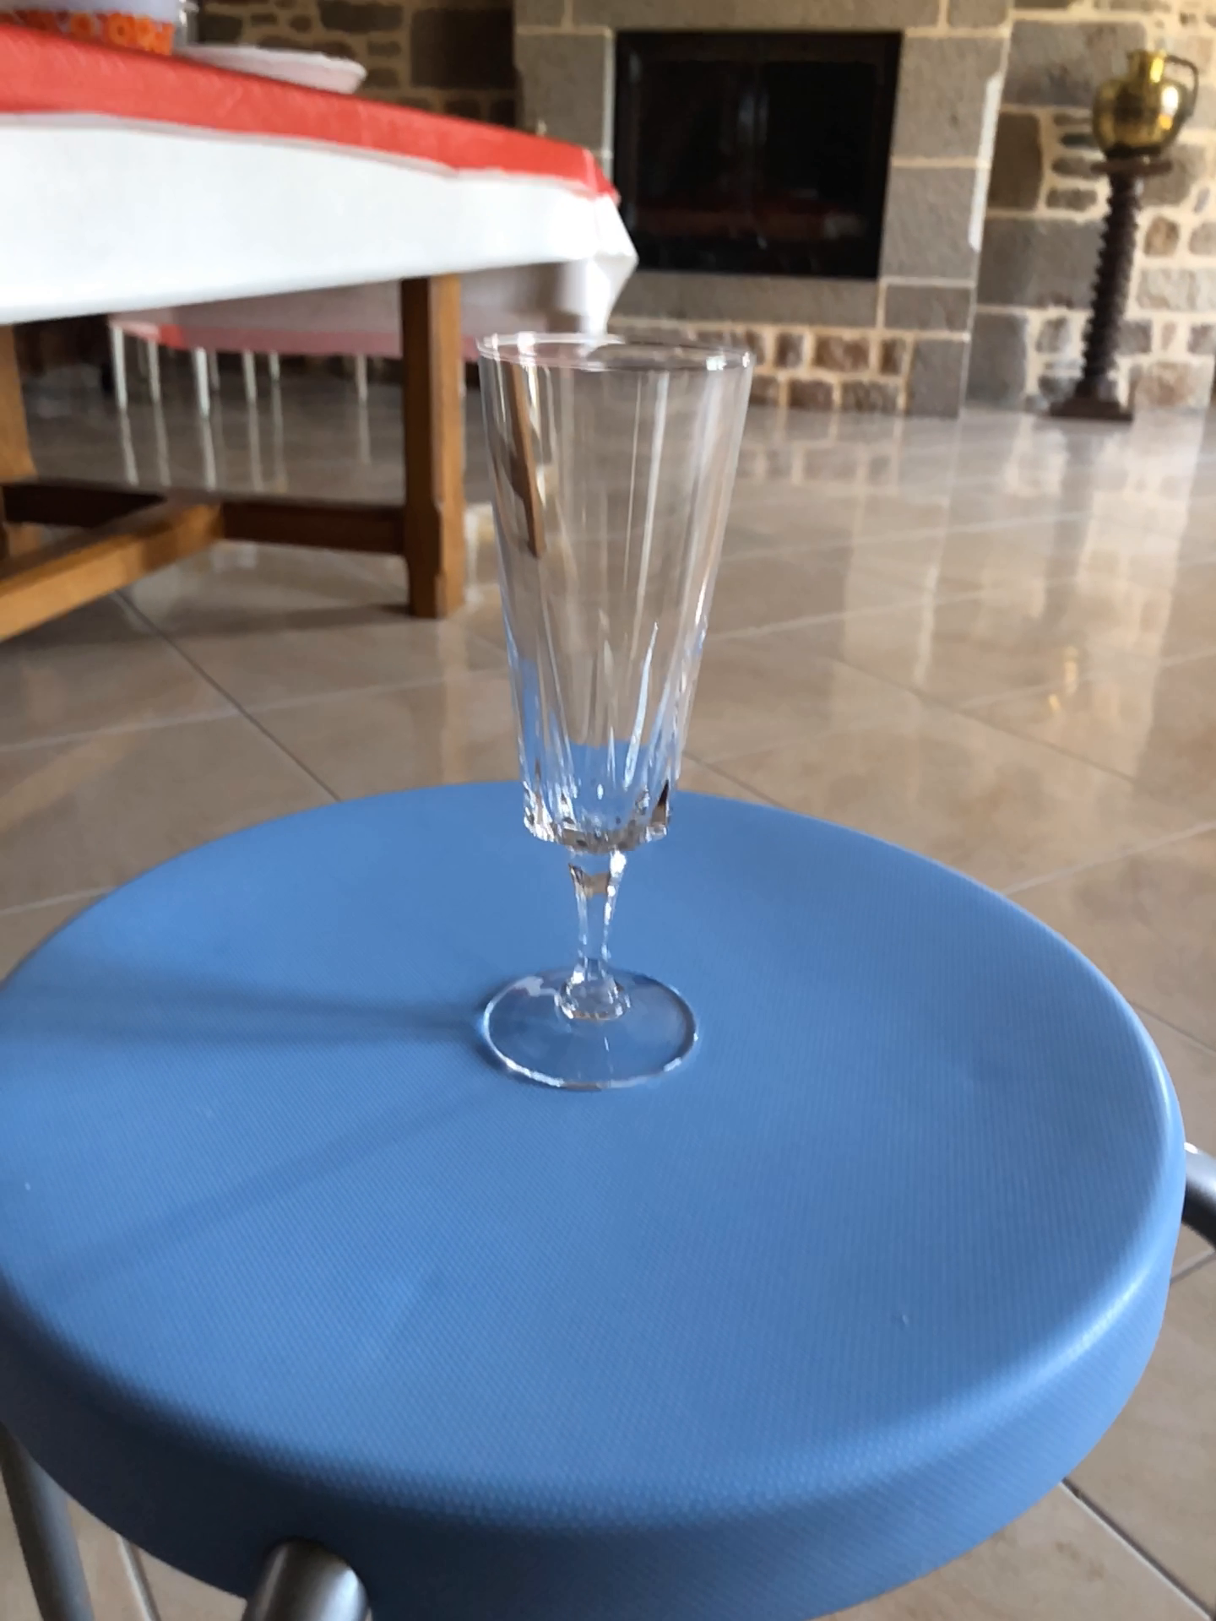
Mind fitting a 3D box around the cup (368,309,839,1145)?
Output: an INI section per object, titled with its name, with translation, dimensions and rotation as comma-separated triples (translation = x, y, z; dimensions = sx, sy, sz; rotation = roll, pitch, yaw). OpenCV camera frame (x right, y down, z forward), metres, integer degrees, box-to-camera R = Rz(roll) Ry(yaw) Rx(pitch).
[cup]
translation = -0.006, -0.023, 0.323
dimensions = 0.080, 0.179, 0.070
rotation = -8, 25, -22
